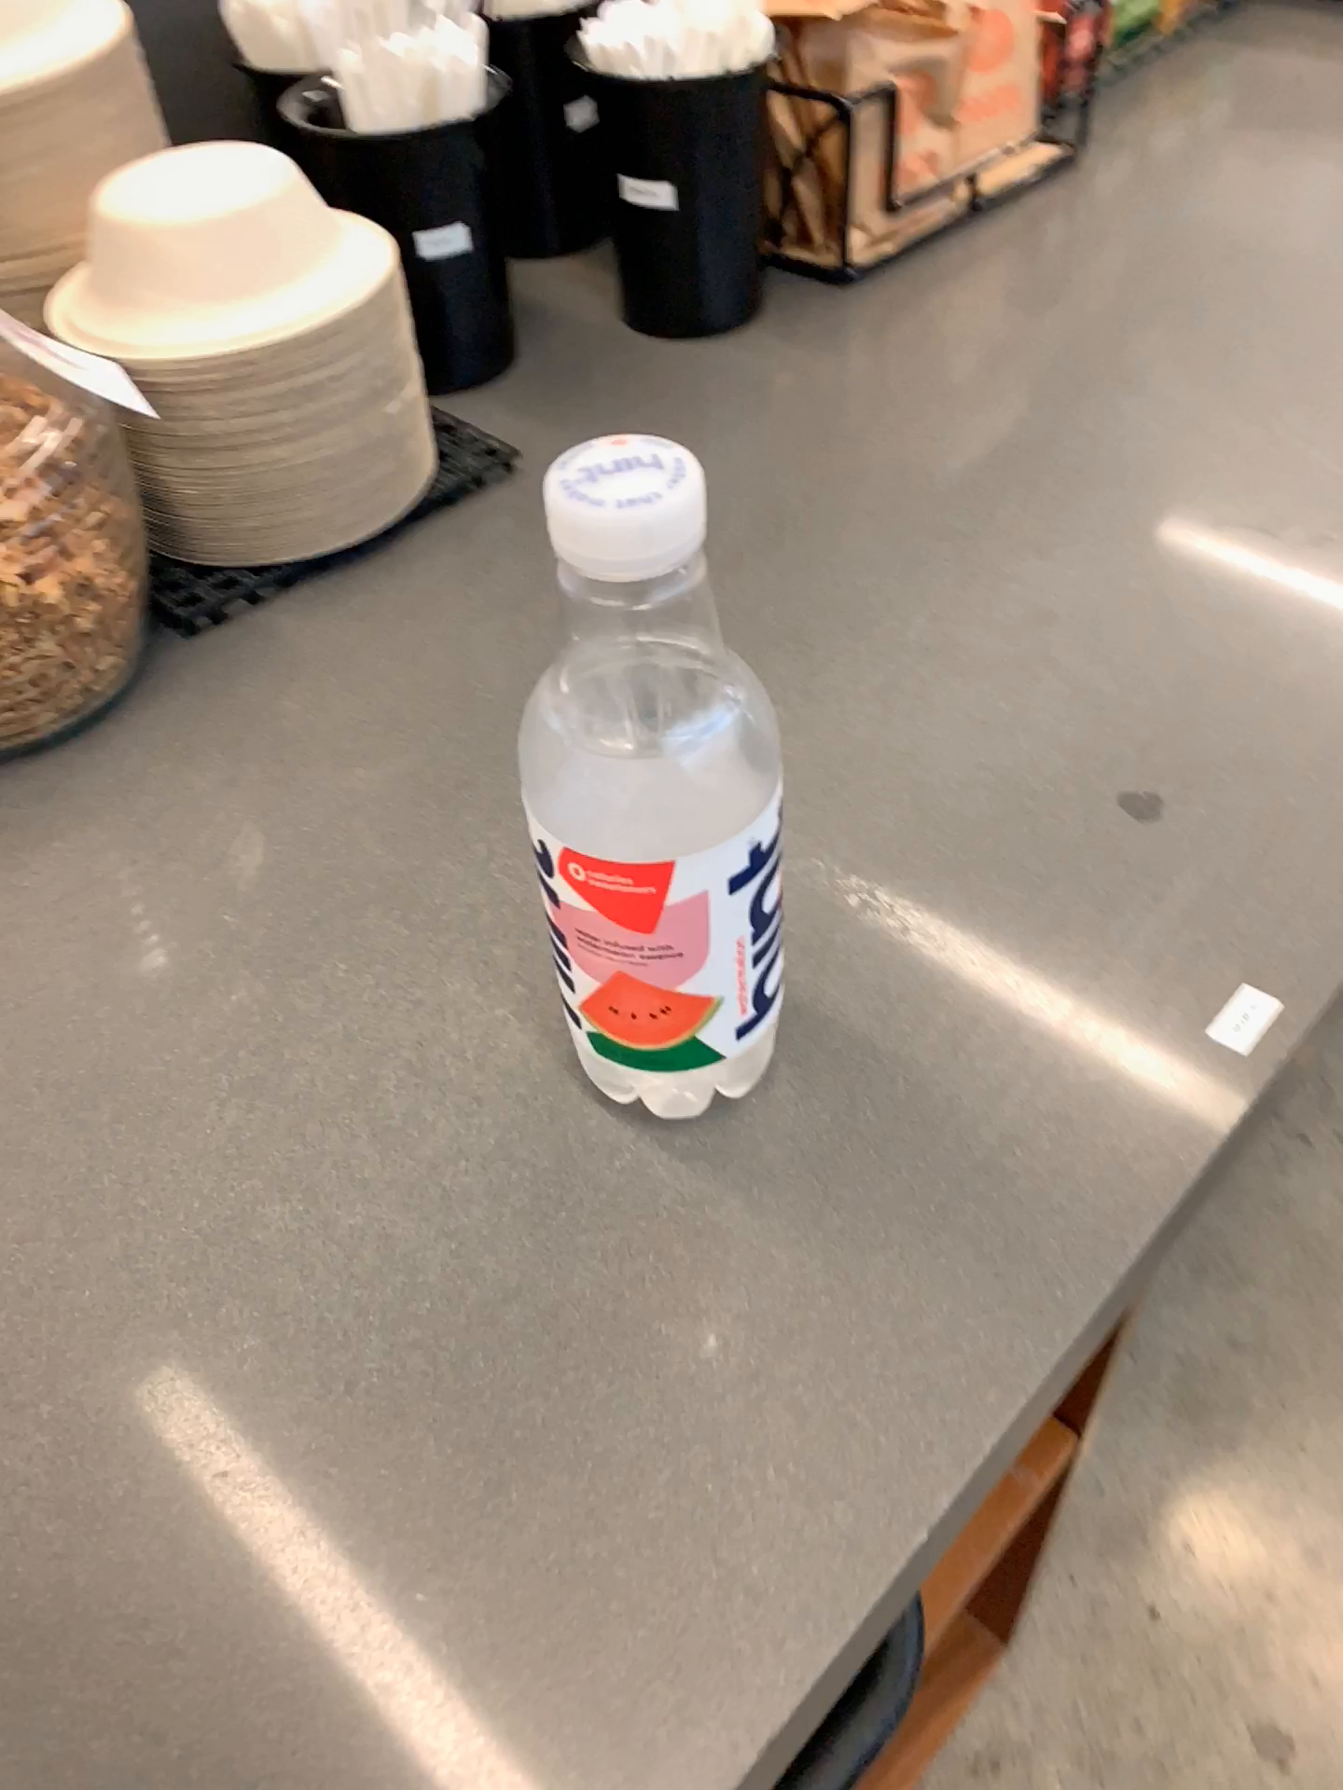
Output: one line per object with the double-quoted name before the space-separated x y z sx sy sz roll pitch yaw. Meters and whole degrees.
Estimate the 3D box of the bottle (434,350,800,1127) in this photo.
"bottle" -0.005 -0.027 0.359 0.070 0.199 0.070 -2 46 3
